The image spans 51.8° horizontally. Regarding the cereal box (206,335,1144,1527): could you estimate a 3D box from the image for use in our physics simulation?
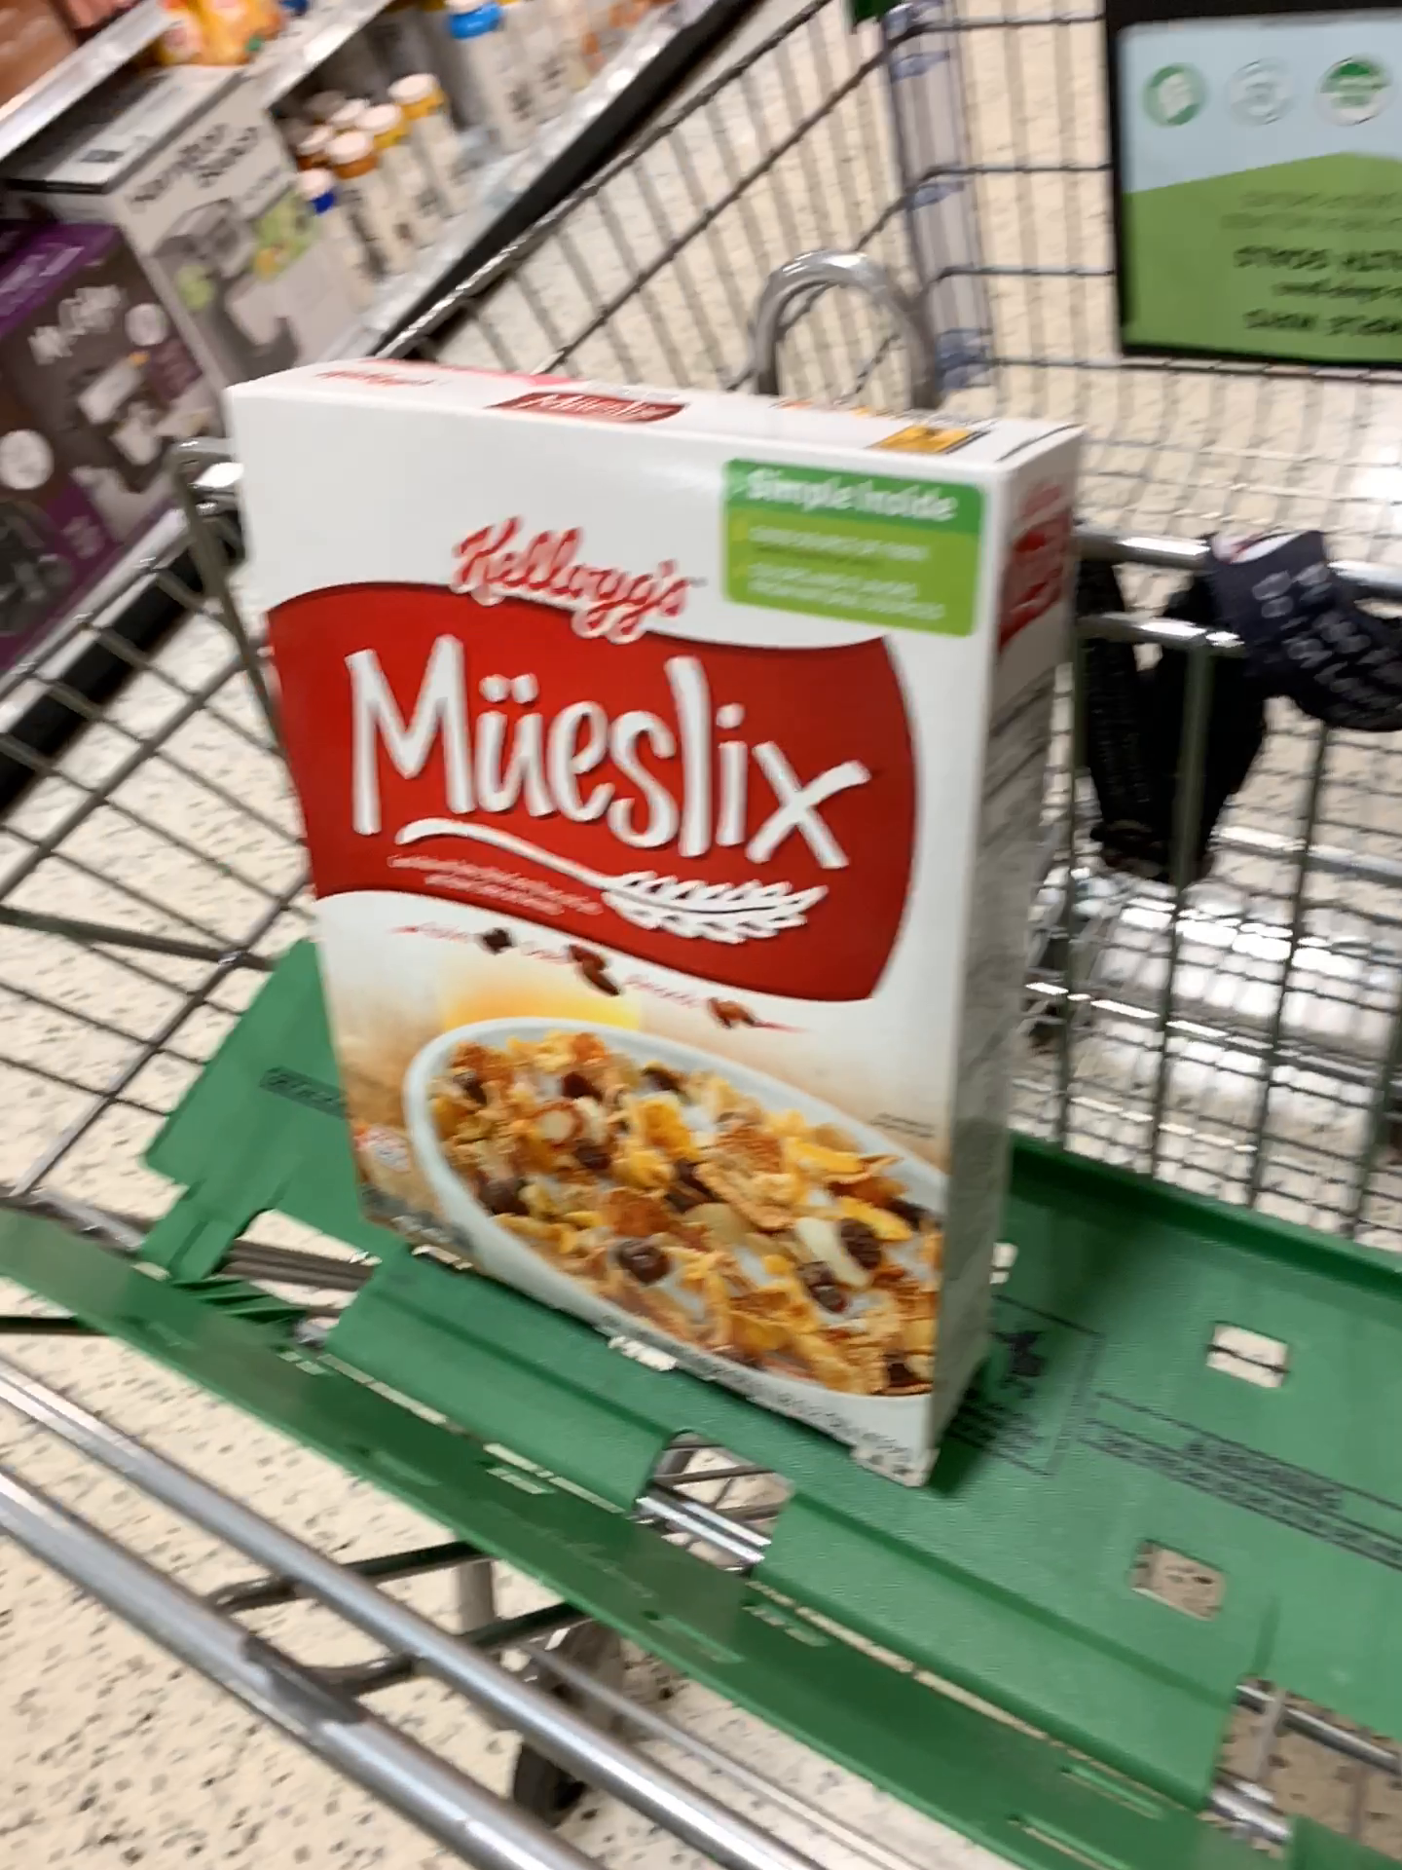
[{"bbox_3d":[-0.011,-0.002,0.375,0.201,0.268,0.060,16,34,28],"label":"cereal box"}]
